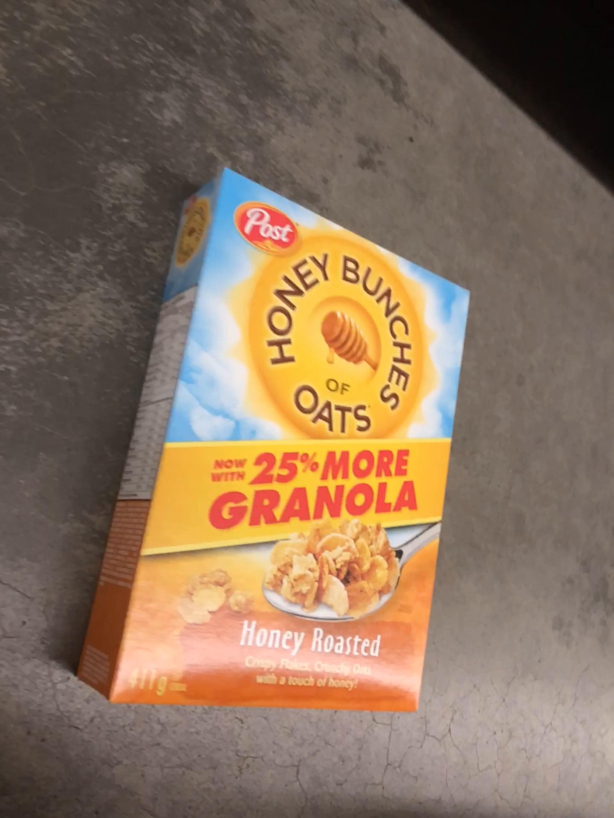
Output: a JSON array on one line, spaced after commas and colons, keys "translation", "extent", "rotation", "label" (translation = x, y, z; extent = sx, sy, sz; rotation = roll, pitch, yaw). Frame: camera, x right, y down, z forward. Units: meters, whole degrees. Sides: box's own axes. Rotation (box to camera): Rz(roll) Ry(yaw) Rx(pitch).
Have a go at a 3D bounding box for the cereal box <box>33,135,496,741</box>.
[{"translation": [-0.002, 0.030, 0.387], "extent": [0.210, 0.060, 0.280], "rotation": [21, 75, -35], "label": "cereal box"}]
